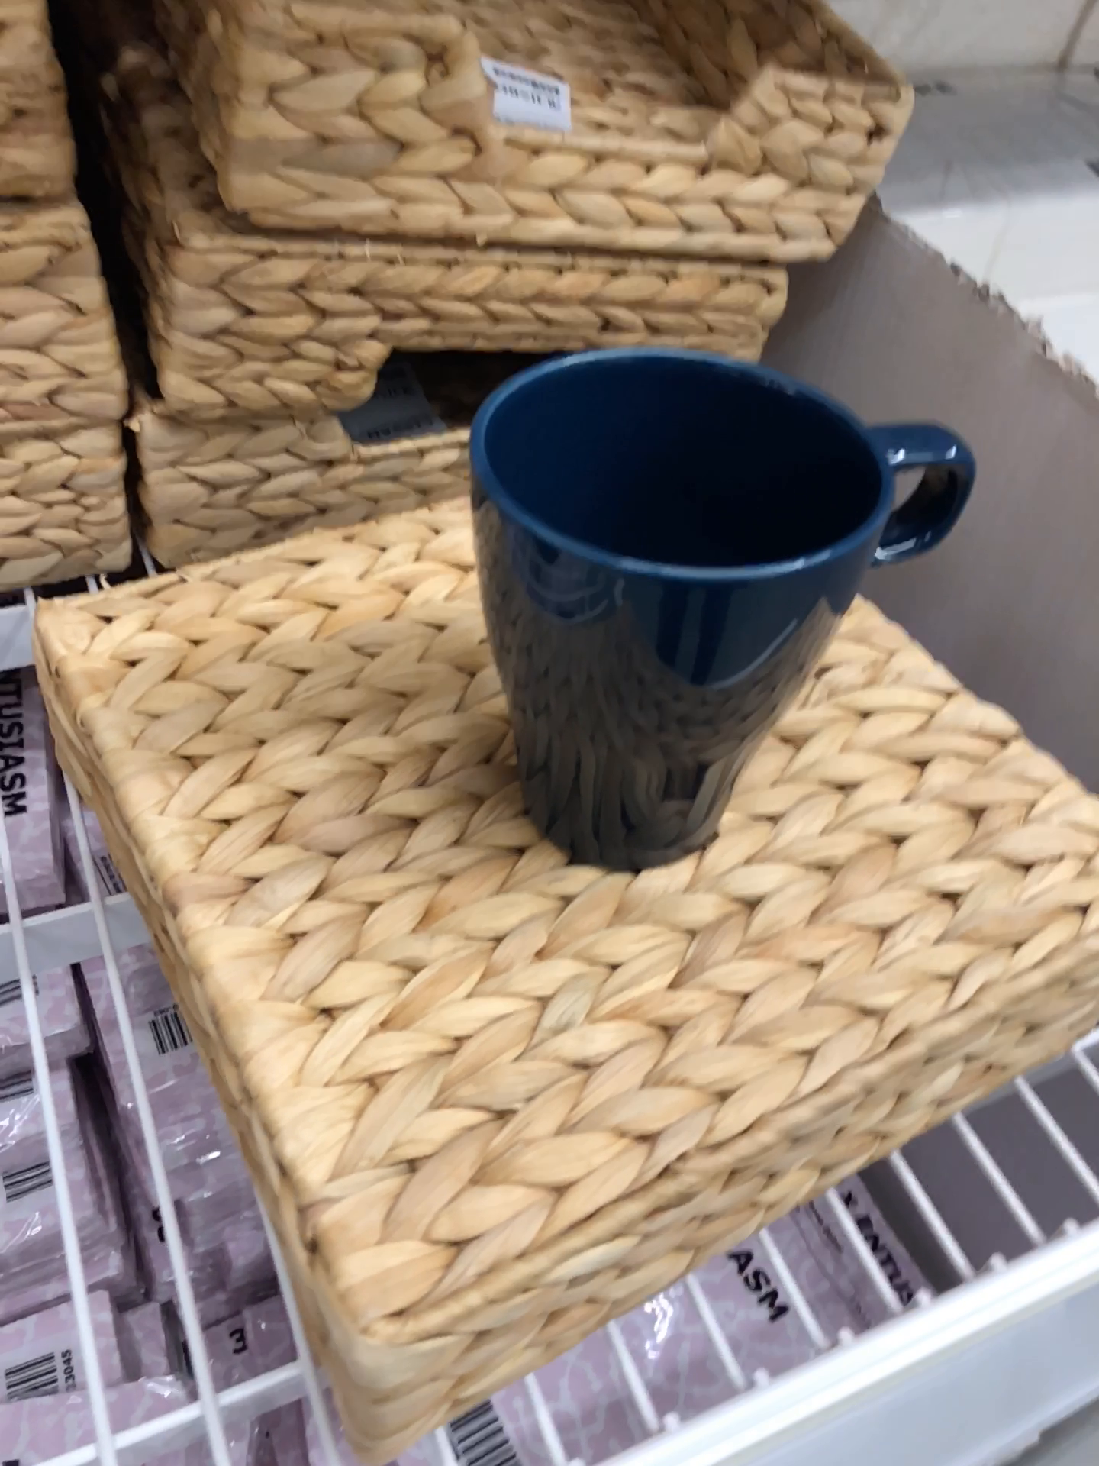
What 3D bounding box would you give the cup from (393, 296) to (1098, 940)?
[{"bbox_3d":[0.035,-0.027,0.256,0.120,0.090,0.080,-9,46,-15],"label":"cup"}]
